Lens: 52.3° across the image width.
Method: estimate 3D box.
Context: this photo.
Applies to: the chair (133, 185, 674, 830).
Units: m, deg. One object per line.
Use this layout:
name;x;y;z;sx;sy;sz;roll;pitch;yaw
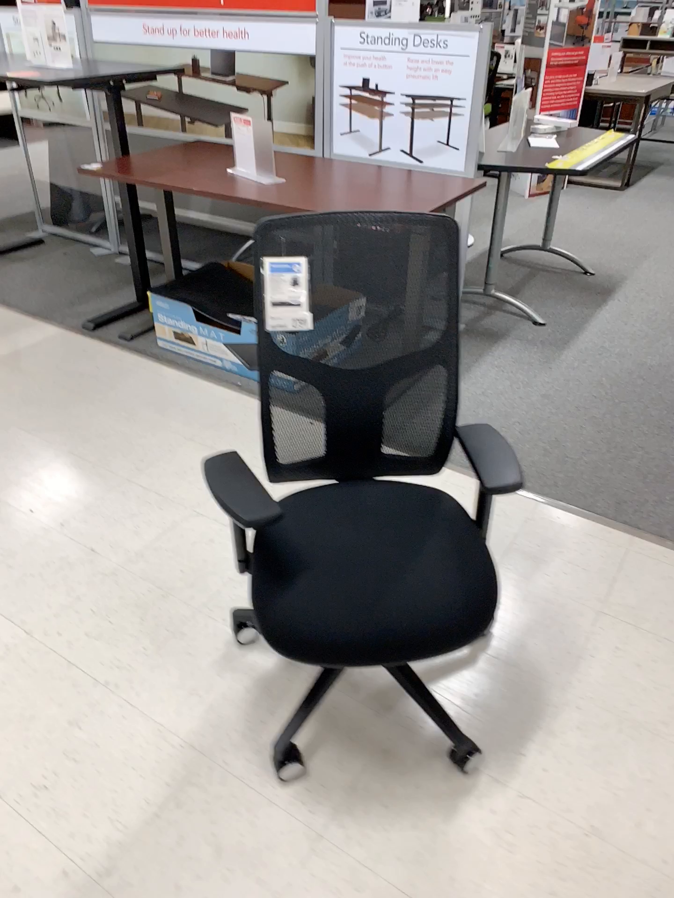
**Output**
chair;0.068;0.084;1.375;0.700;0.995;0.734;-4;34;-7
